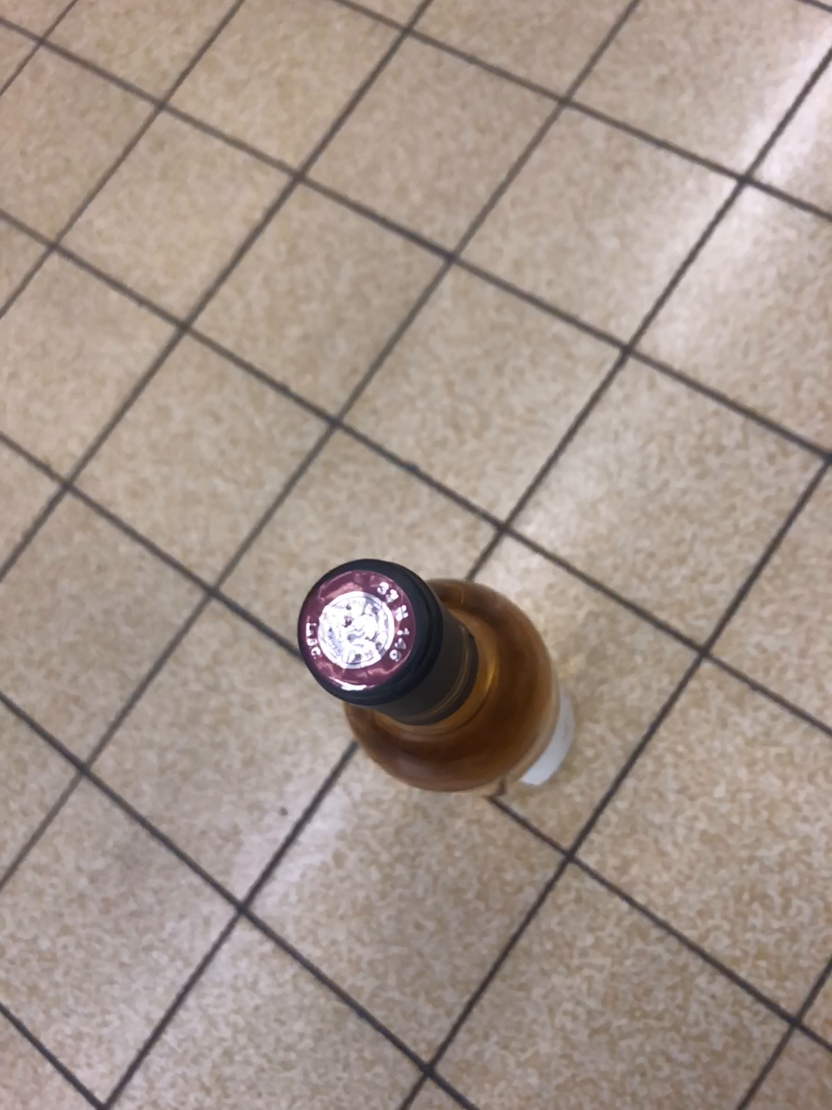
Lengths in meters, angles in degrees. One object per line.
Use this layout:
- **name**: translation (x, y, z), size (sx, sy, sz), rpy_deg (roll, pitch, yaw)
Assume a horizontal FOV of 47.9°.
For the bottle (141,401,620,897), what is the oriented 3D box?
- **bottle**: translation (0.014, 0.046, 0.294), size (0.070, 0.240, 0.070), rpy_deg (-3, 75, 11)
